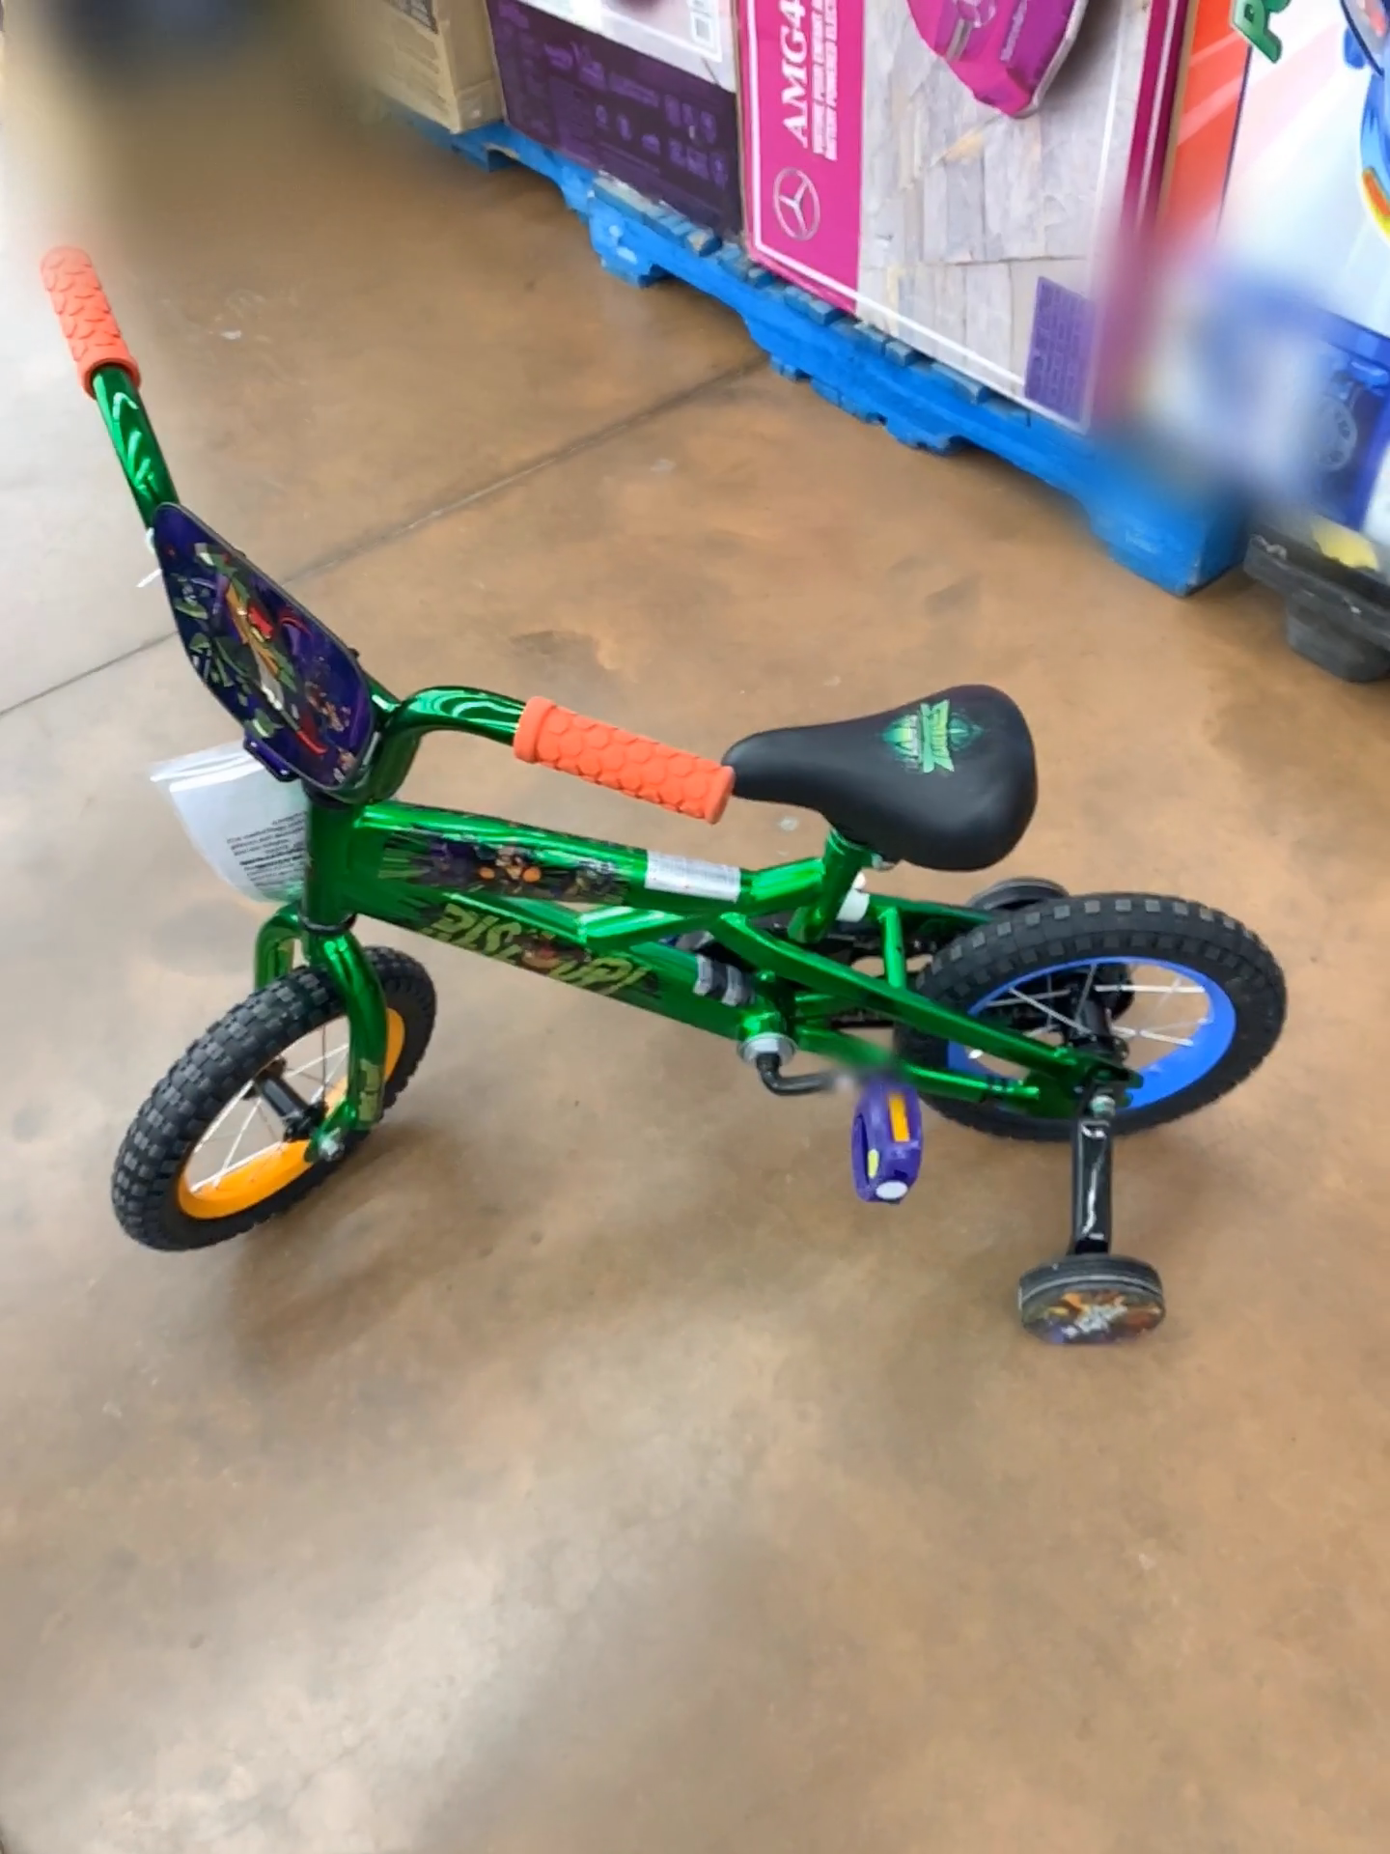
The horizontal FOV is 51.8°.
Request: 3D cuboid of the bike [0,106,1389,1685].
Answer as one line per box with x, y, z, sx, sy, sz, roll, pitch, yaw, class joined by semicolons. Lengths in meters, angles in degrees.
-0.007;0.017;0.864;0.828;0.677;0.533;-6;49;0;bike
